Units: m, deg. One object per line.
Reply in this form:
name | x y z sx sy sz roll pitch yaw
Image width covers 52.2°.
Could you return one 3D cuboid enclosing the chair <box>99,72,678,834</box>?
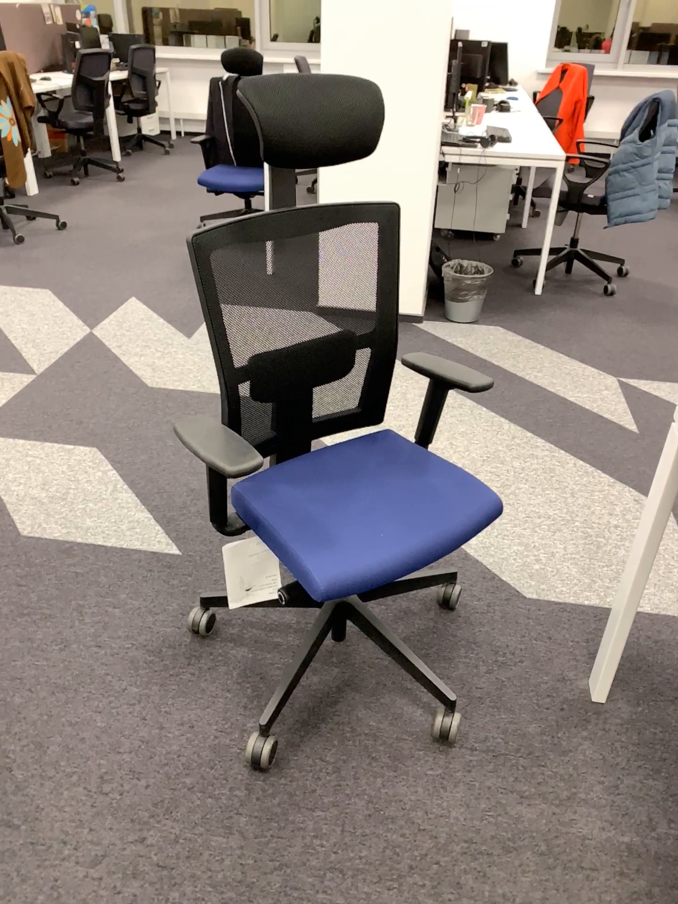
chair | 0.058 -0.036 1.406 0.731 1.243 0.673 -15 36 -25
